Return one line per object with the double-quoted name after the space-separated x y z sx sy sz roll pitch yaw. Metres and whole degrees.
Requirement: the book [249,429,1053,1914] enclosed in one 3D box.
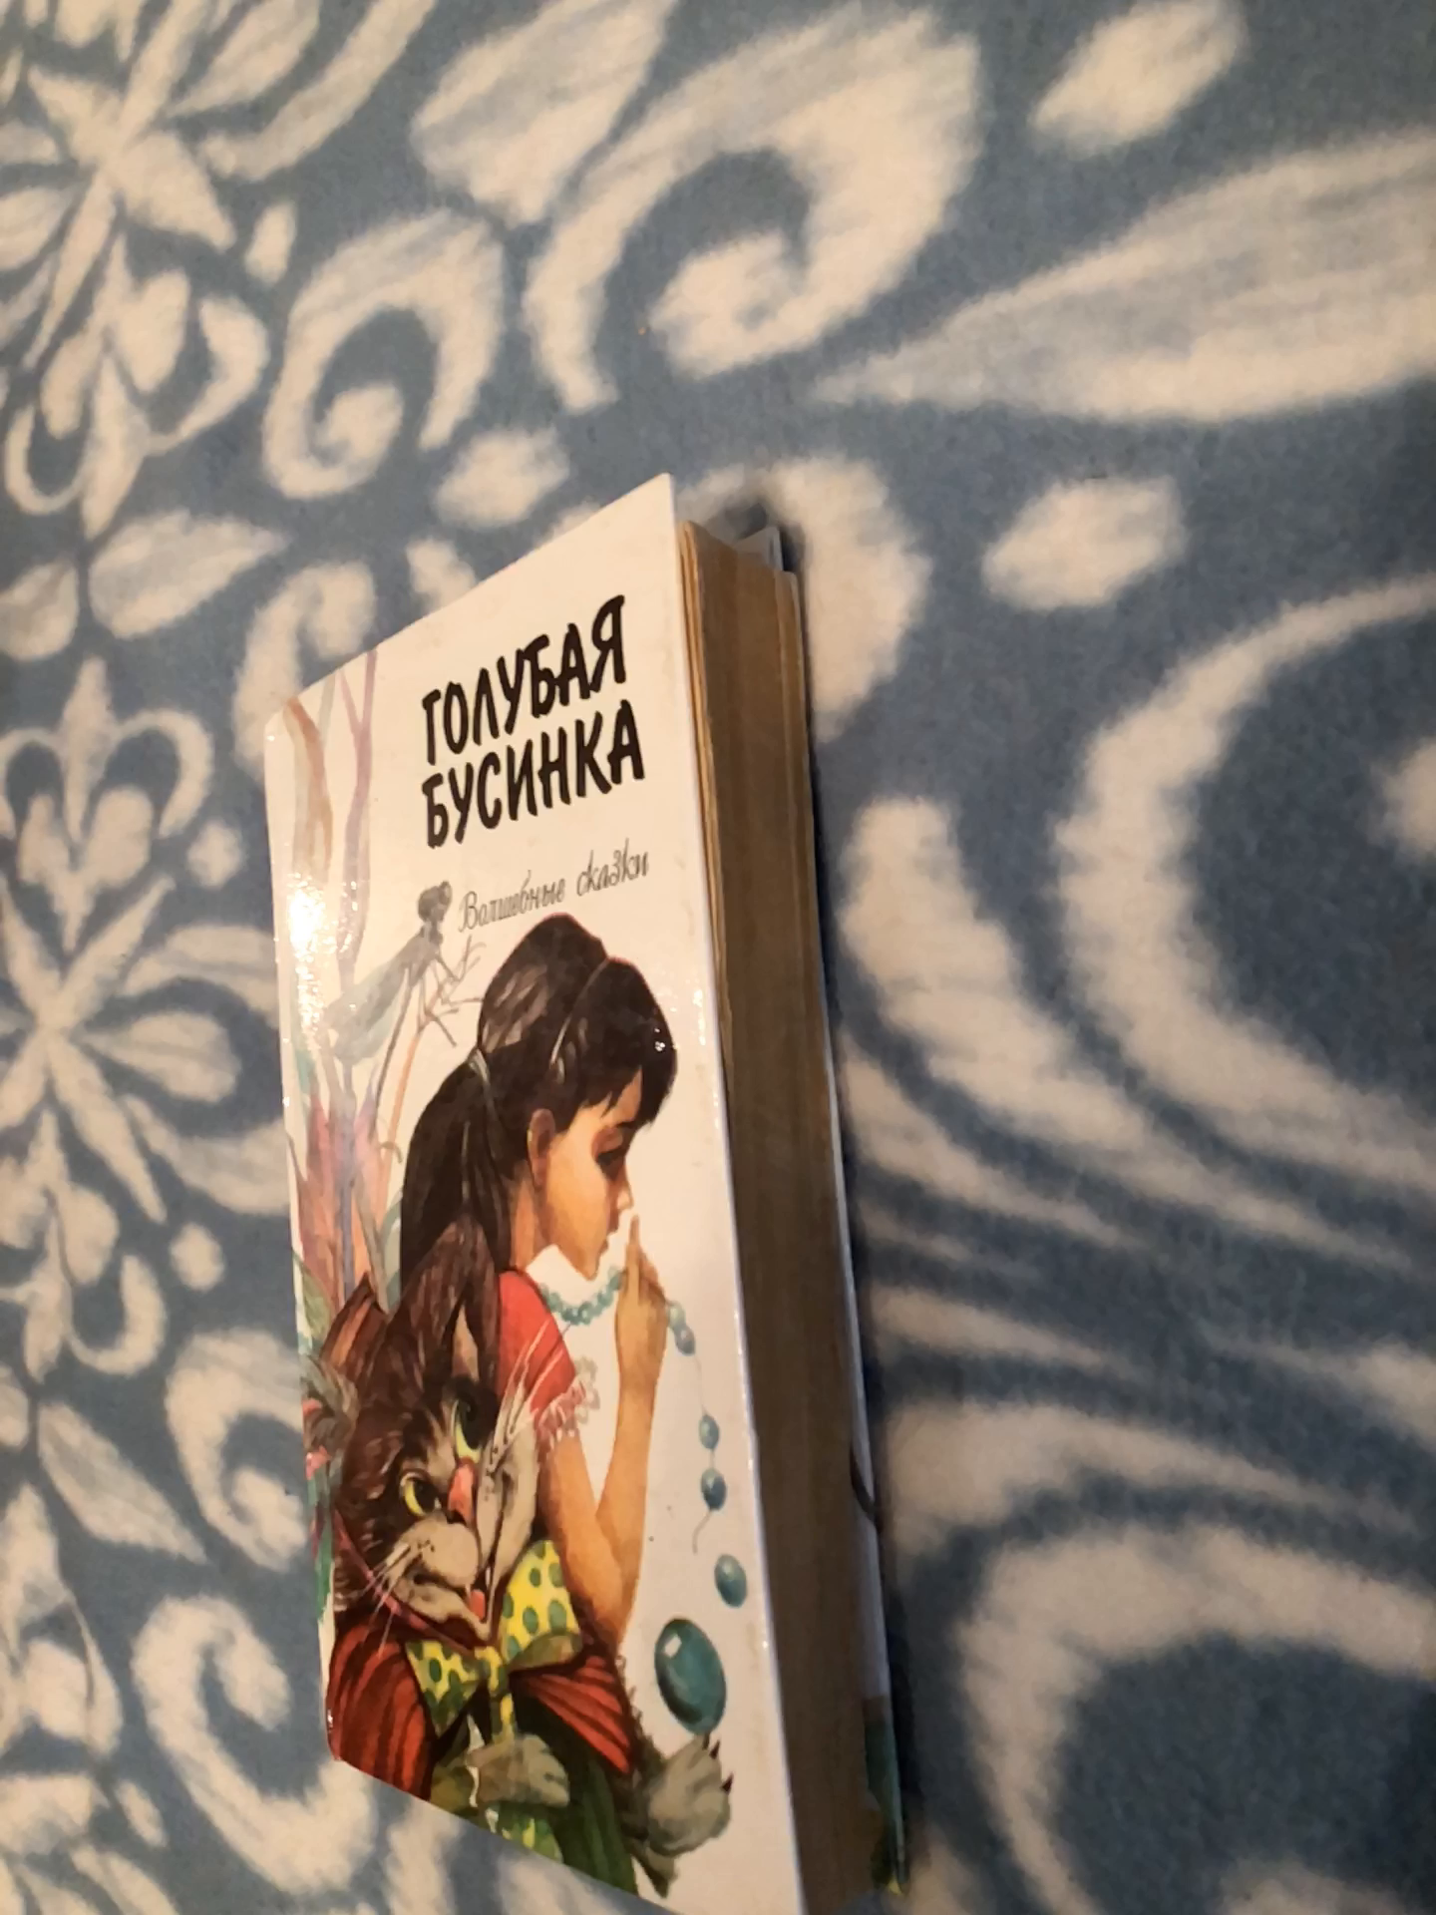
-0.025 0.039 0.279 0.146 0.040 0.206 -14 78 47 "book"
